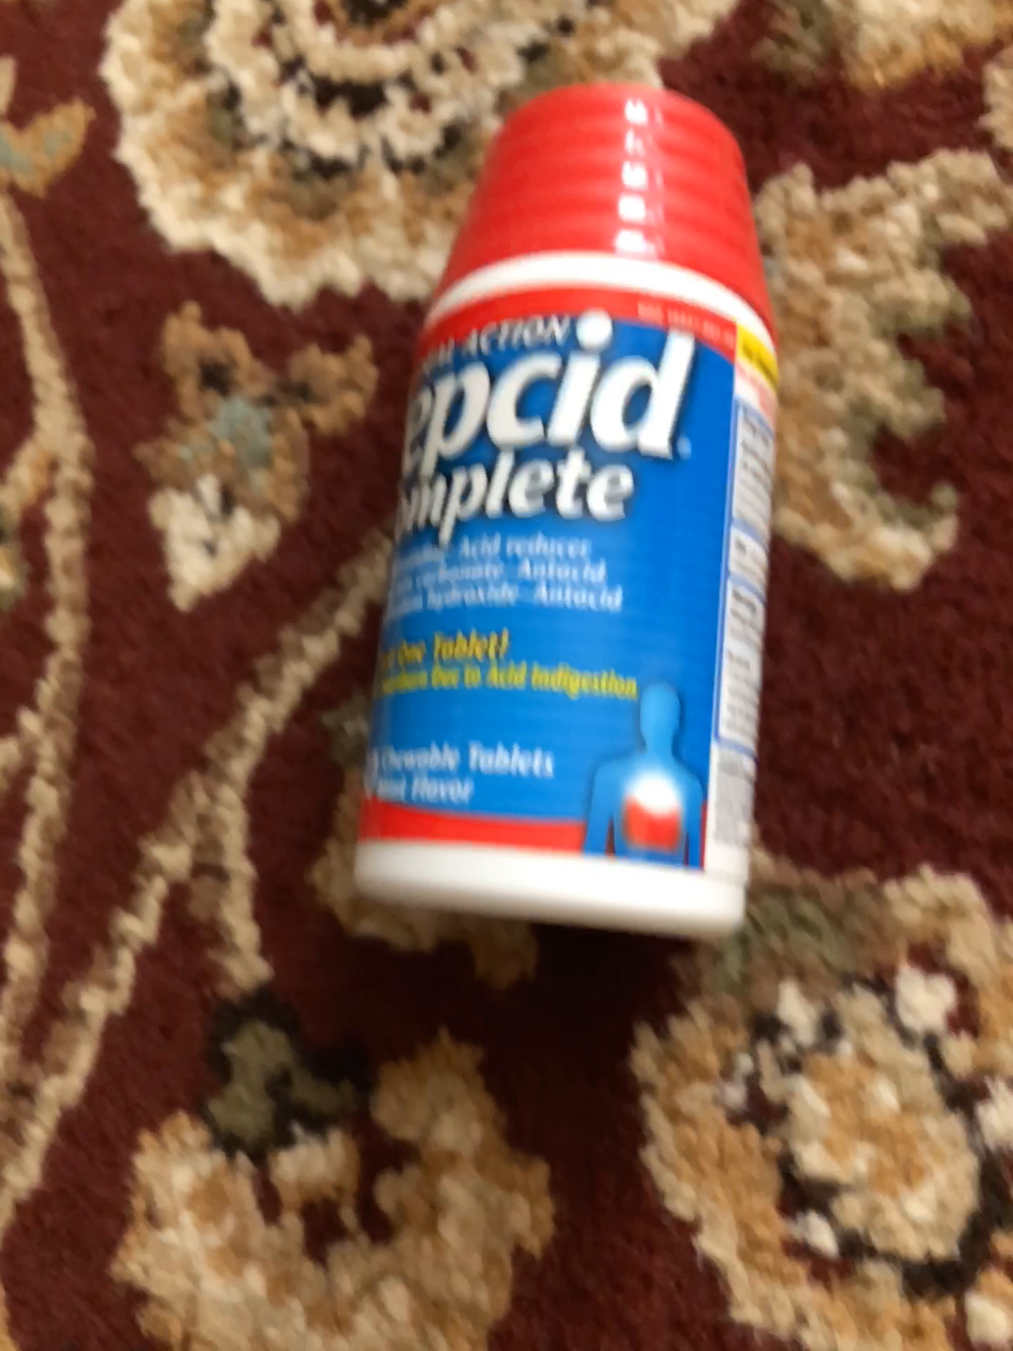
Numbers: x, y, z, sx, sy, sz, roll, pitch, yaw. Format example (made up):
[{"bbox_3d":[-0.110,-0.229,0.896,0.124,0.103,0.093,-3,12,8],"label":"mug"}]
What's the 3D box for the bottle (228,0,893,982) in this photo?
[{"bbox_3d":[0.012,-0.026,0.171,0.060,0.060,0.130,-2,76,42],"label":"bottle"}]
